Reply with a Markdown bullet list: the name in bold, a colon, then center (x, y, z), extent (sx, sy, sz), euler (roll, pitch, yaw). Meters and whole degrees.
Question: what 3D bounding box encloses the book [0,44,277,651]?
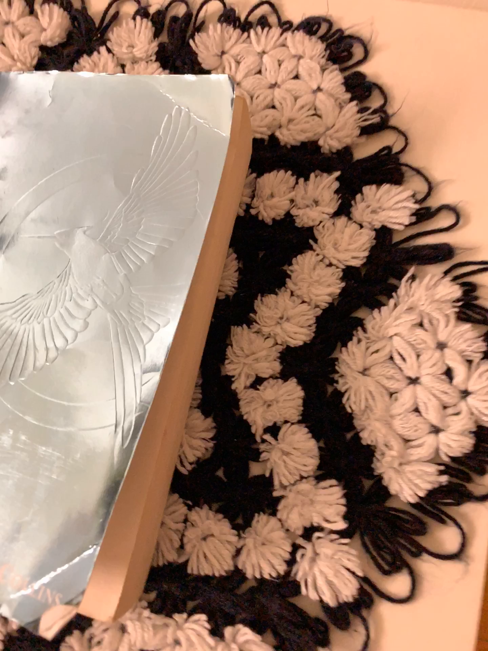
- **book**: center (-0.074, -0.005, 0.193), extent (0.136, 0.036, 0.193), euler (11, 77, 7)
